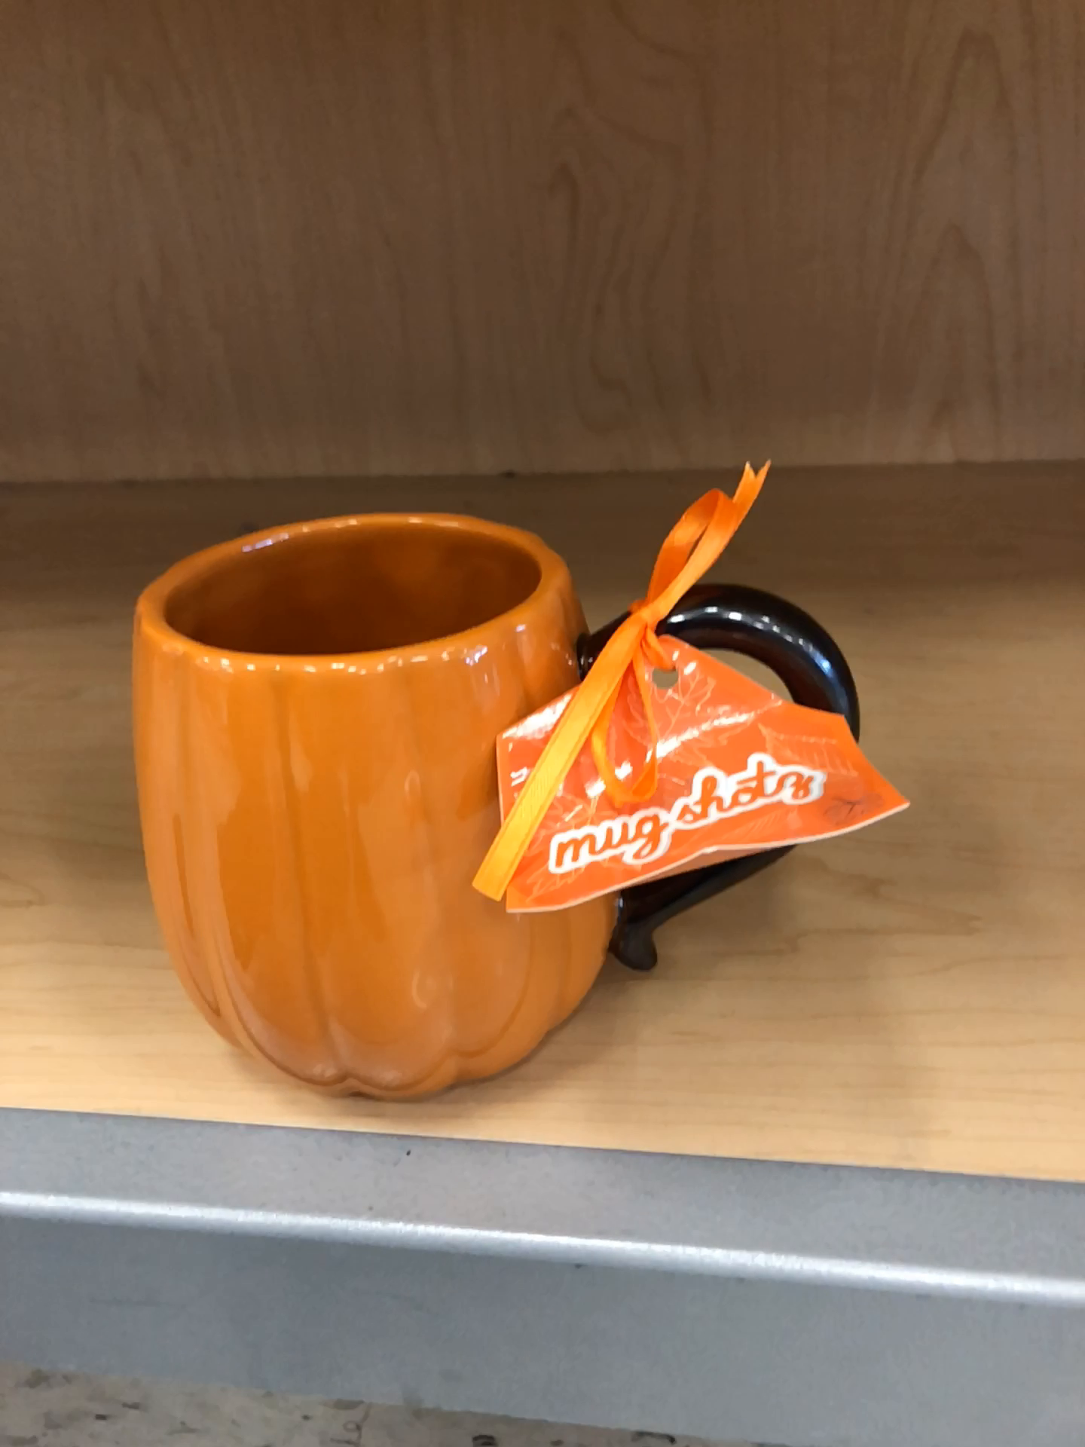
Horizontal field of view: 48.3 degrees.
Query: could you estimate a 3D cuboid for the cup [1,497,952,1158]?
[{"bbox_3d":[-0.005,0.015,0.230,0.140,0.089,0.081,0,29,9],"label":"cup"}]
